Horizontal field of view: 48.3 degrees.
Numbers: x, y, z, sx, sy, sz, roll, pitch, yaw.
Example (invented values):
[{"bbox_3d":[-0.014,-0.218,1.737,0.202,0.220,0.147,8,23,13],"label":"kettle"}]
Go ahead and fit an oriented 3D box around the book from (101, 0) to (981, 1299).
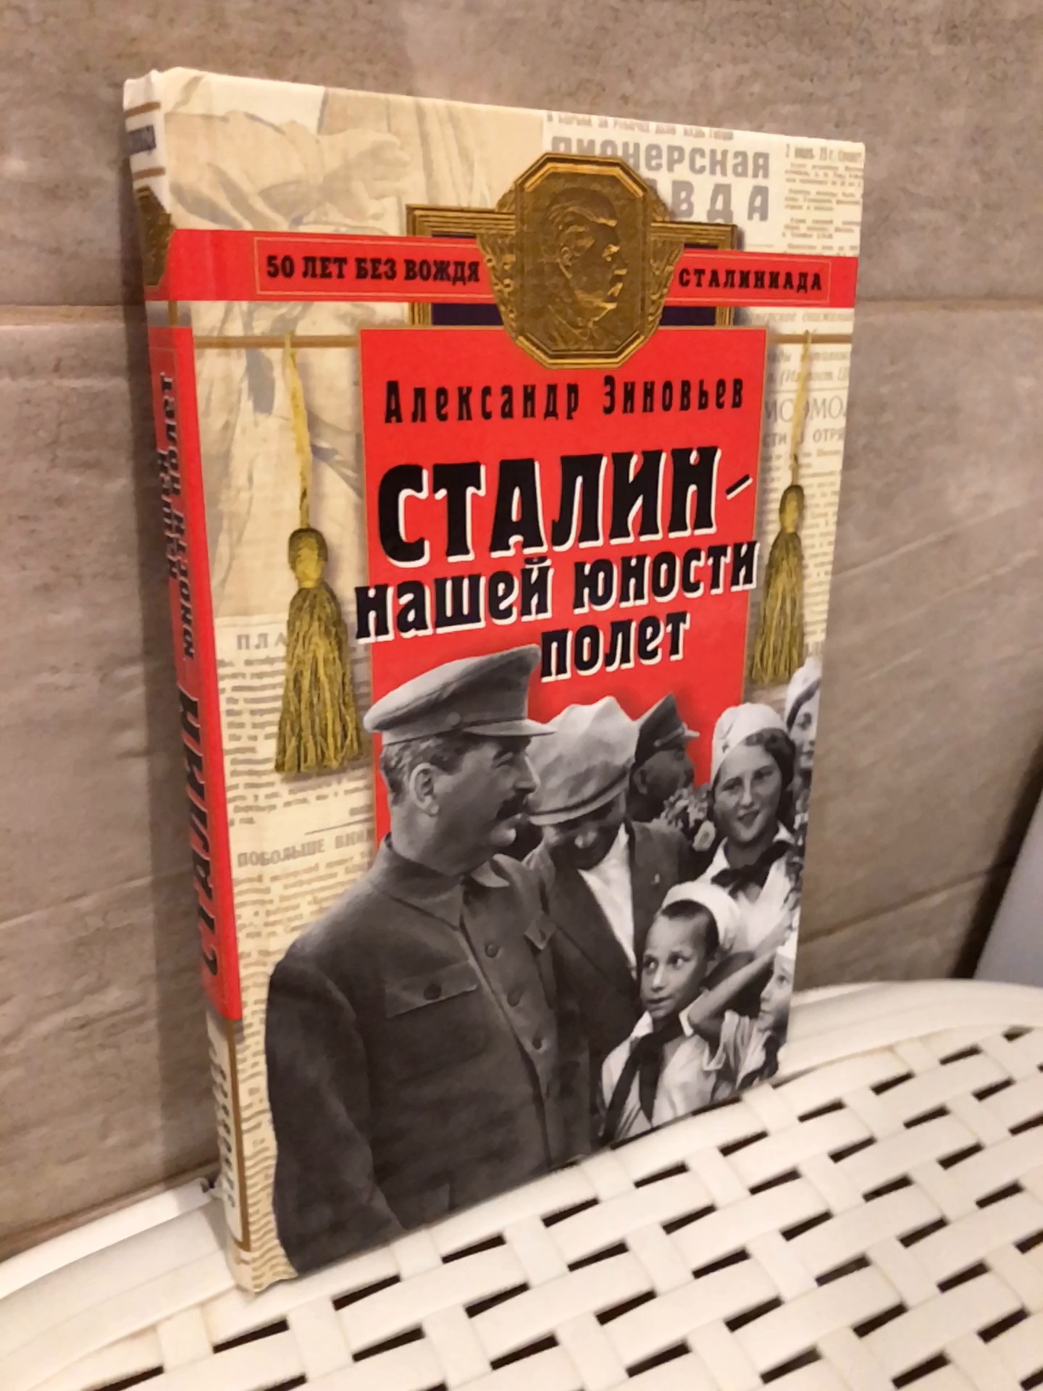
[{"bbox_3d":[0.009,-0.005,0.213,0.140,0.199,0.030,-9,22,-27],"label":"book"}]
